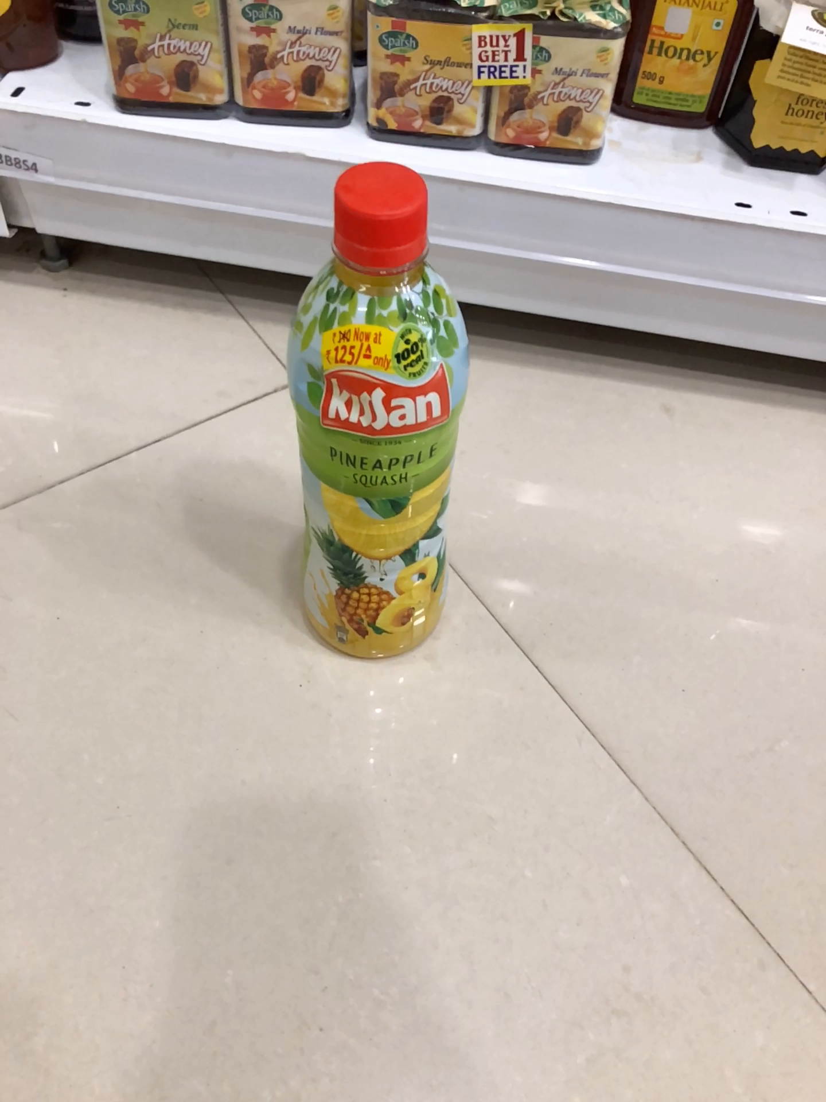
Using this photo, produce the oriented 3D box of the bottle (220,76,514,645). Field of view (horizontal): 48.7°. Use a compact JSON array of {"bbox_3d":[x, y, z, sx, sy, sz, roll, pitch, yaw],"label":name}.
[{"bbox_3d":[-0.018,-0.053,0.366,0.080,0.229,0.080,2,56,-2],"label":"bottle"}]
